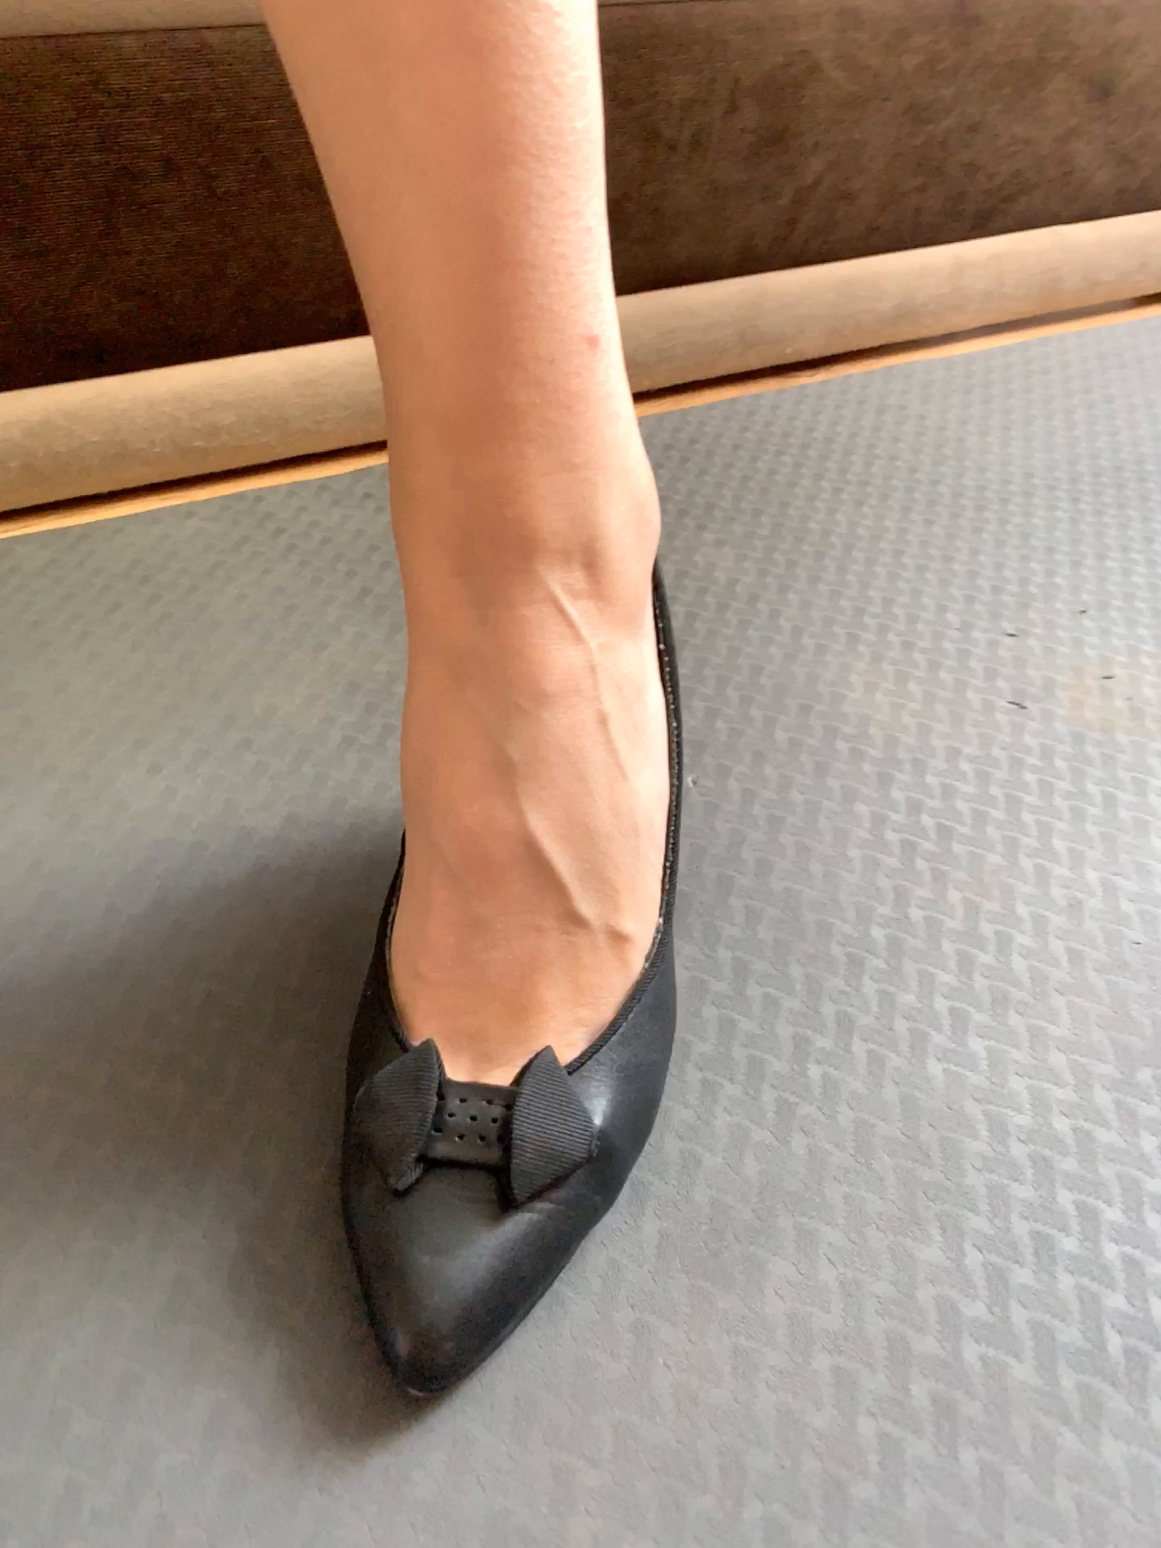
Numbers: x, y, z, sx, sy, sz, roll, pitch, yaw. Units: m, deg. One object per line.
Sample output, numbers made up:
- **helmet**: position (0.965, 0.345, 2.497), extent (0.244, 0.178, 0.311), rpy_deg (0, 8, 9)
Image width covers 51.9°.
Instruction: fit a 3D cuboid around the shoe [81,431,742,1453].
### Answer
- **shoe**: position (-0.015, 0.015, 0.291), extent (0.090, 0.099, 0.231), rpy_deg (6, 40, 5)
